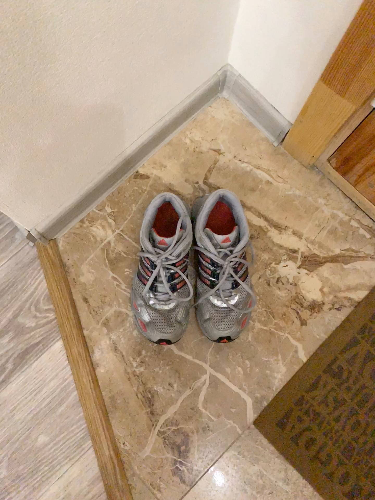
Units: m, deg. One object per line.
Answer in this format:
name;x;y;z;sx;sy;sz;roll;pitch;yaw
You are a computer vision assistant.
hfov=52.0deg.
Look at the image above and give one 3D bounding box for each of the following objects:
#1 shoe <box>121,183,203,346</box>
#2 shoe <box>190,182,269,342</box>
shoe;-0.036;0.025;0.612;0.110;0.090;0.240;3;78;-1
shoe;0.063;0.023;0.619;0.110;0.090;0.240;1;78;-2
